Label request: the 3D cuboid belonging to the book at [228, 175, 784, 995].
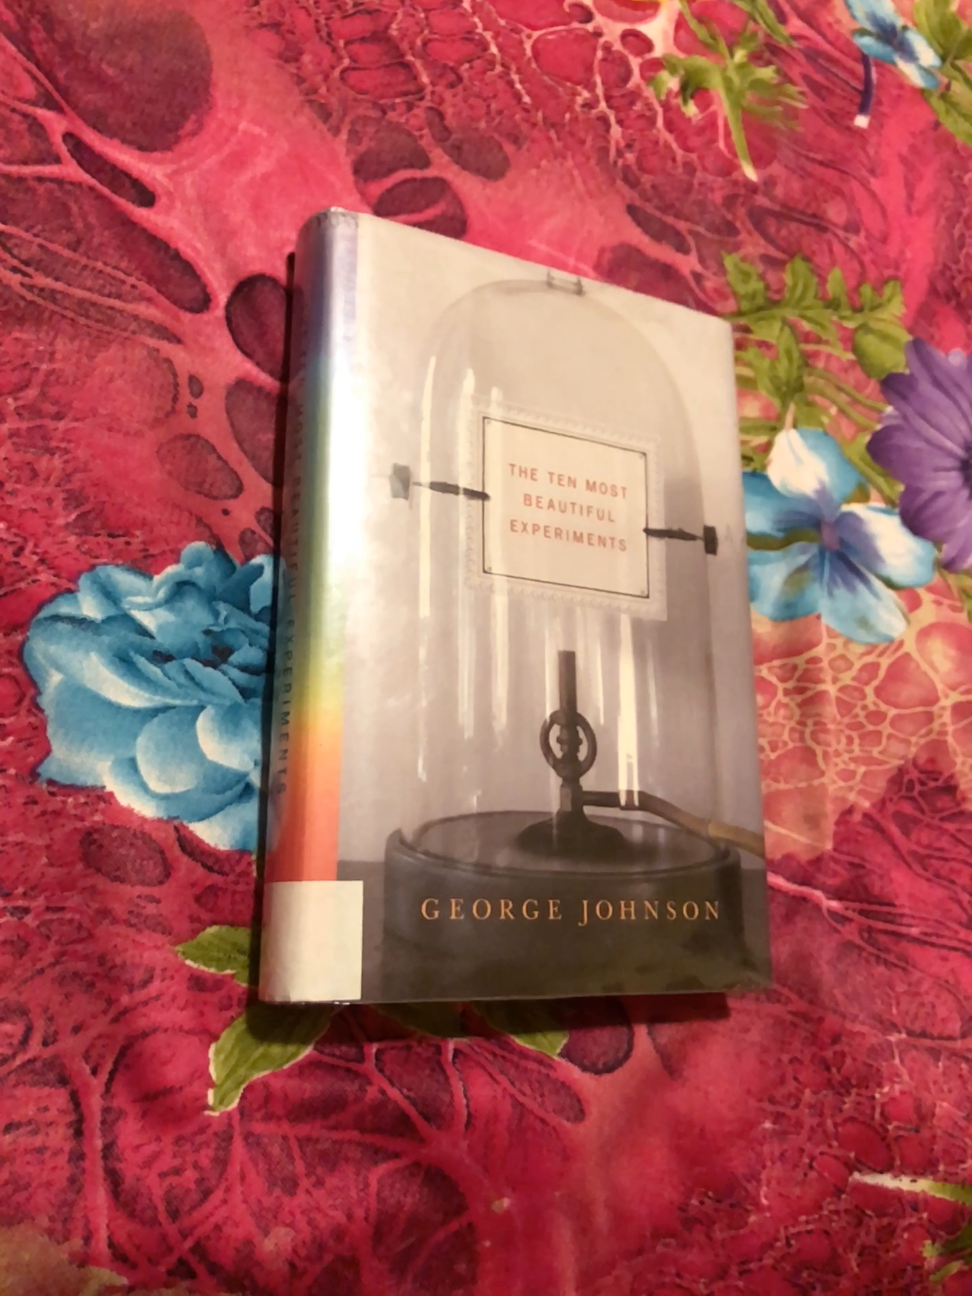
[{"bbox_3d":[0.007,-0.014,0.296,0.140,0.030,0.200,6,74,-25],"label":"book"}]
